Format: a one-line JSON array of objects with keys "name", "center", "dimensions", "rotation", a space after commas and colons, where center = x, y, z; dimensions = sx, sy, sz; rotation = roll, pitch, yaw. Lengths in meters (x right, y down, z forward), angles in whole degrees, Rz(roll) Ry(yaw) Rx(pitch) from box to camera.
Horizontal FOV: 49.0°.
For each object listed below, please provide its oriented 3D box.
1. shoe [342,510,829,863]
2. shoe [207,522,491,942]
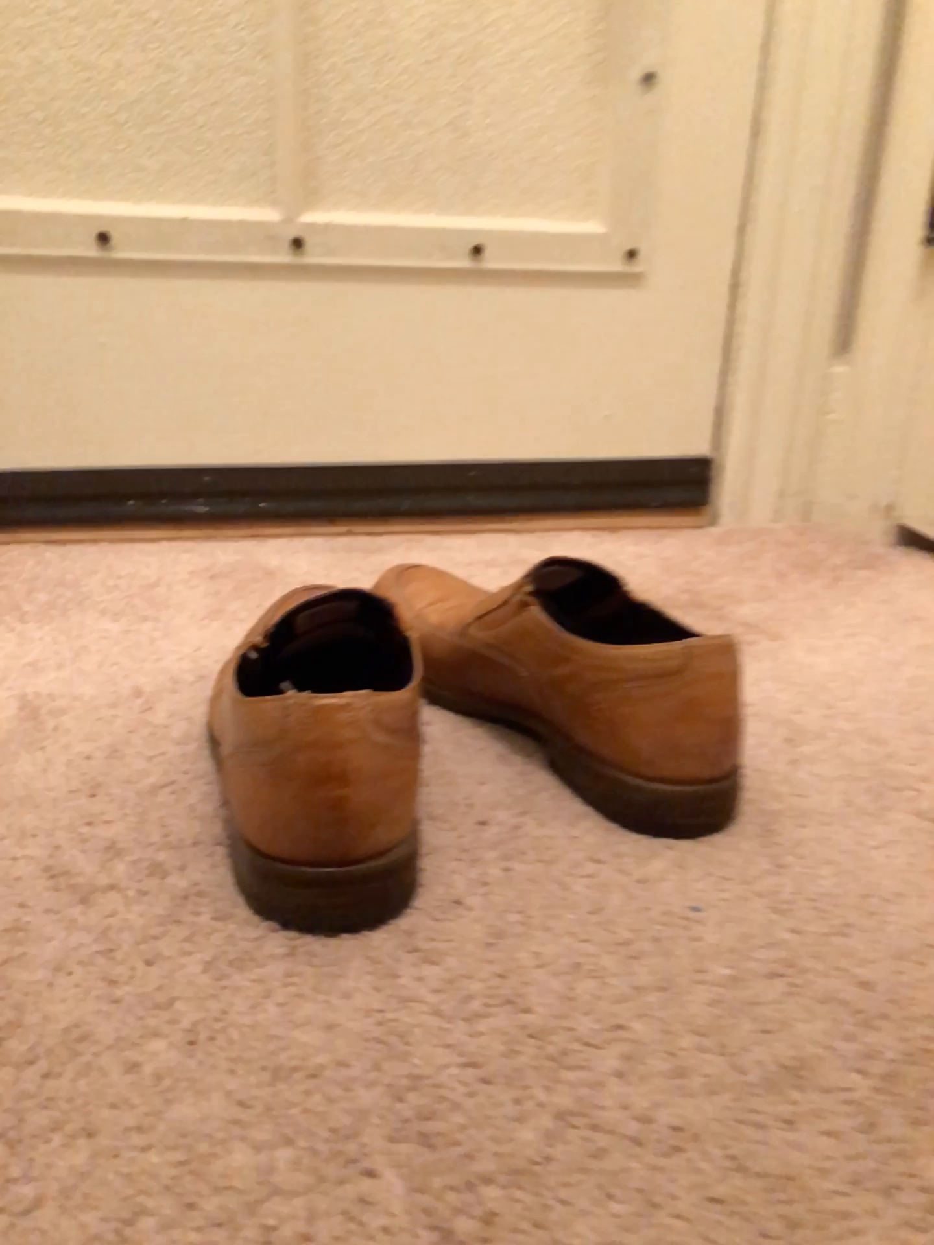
[{"name": "shoe", "center": [0.041, 0.012, 0.583], "dimensions": [0.107, 0.089, 0.311], "rotation": [-9, 20, -28]}, {"name": "shoe", "center": [-0.072, 0.026, 0.525], "dimensions": [0.100, 0.090, 0.321], "rotation": [-2, 17, -11]}]
